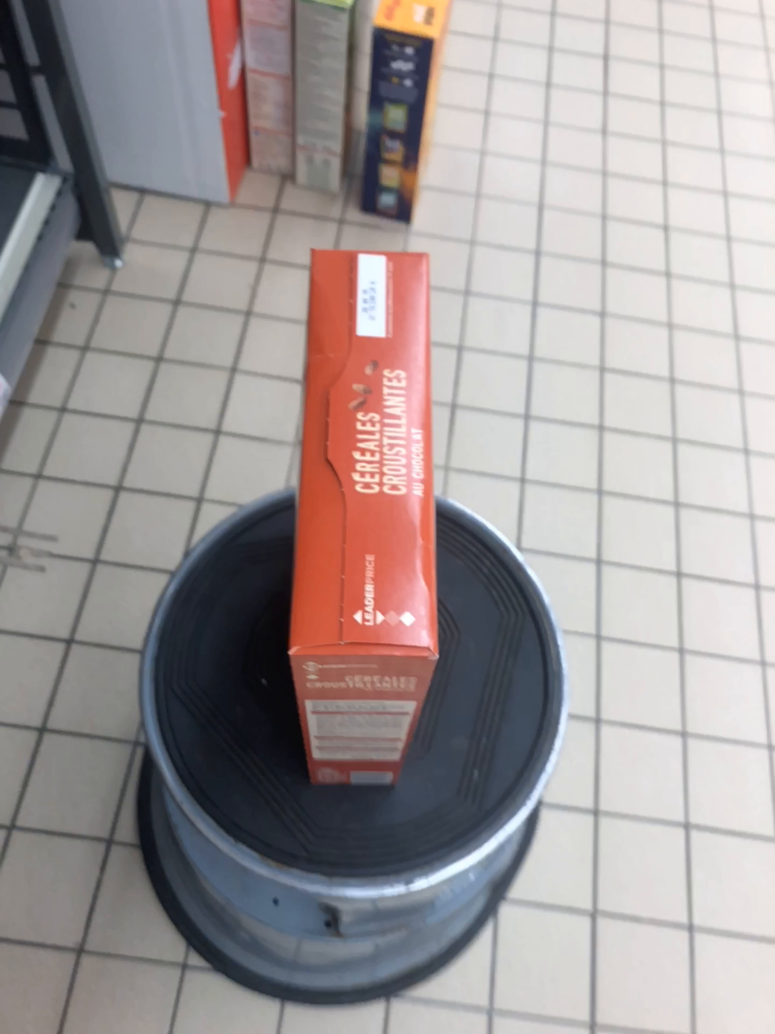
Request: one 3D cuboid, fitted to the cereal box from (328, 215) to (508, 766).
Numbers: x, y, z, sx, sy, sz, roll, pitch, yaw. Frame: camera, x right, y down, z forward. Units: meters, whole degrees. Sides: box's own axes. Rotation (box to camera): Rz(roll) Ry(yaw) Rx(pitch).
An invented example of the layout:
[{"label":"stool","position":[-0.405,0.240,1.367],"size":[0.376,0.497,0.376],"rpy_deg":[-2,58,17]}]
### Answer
[{"label":"cereal box","position":[0.003,0.009,0.459],"size":[0.060,0.259,0.191],"rpy_deg":[2,63,-4]}]
